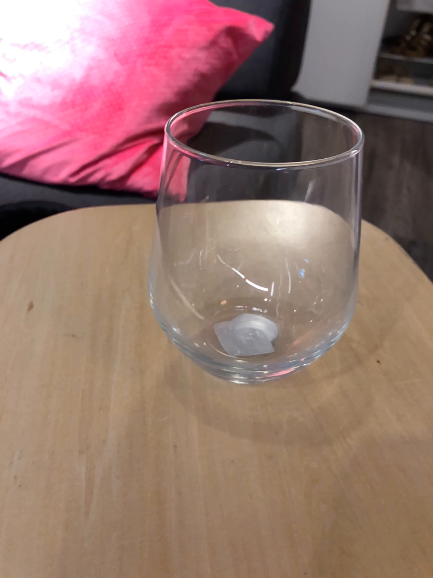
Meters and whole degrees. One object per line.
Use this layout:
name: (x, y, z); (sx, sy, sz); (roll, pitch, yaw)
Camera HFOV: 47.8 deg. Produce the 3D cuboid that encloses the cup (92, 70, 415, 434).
cup: (0.017, -0.019, 0.198); (0.090, 0.100, 0.090); (2, 38, -2)
